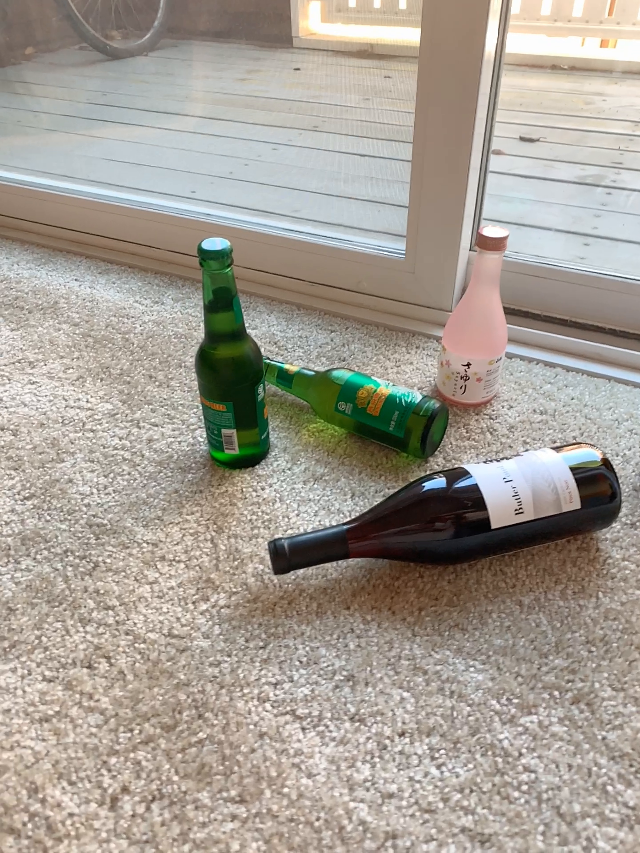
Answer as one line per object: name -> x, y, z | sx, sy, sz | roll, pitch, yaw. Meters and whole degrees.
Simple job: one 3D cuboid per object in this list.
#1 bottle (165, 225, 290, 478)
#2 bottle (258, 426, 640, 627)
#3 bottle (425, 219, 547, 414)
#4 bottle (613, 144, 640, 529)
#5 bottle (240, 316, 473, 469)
bottle -> -0.078, -0.062, 0.579 | 0.080, 0.199, 0.081 | -1, 38, 0
bottle -> 0.103, 0.071, 0.506 | 0.290, 0.060, 0.070 | -11, 39, -13
bottle -> 0.161, -0.109, 0.663 | 0.070, 0.169, 0.081 | -9, 39, -11
bottle -> 0.333, -0.058, 0.521 | 0.080, 0.288, 0.091 | -9, 39, -11
bottle -> 0.030, -0.040, 0.659 | 0.231, 0.060, 0.060 | 23, 44, 27
